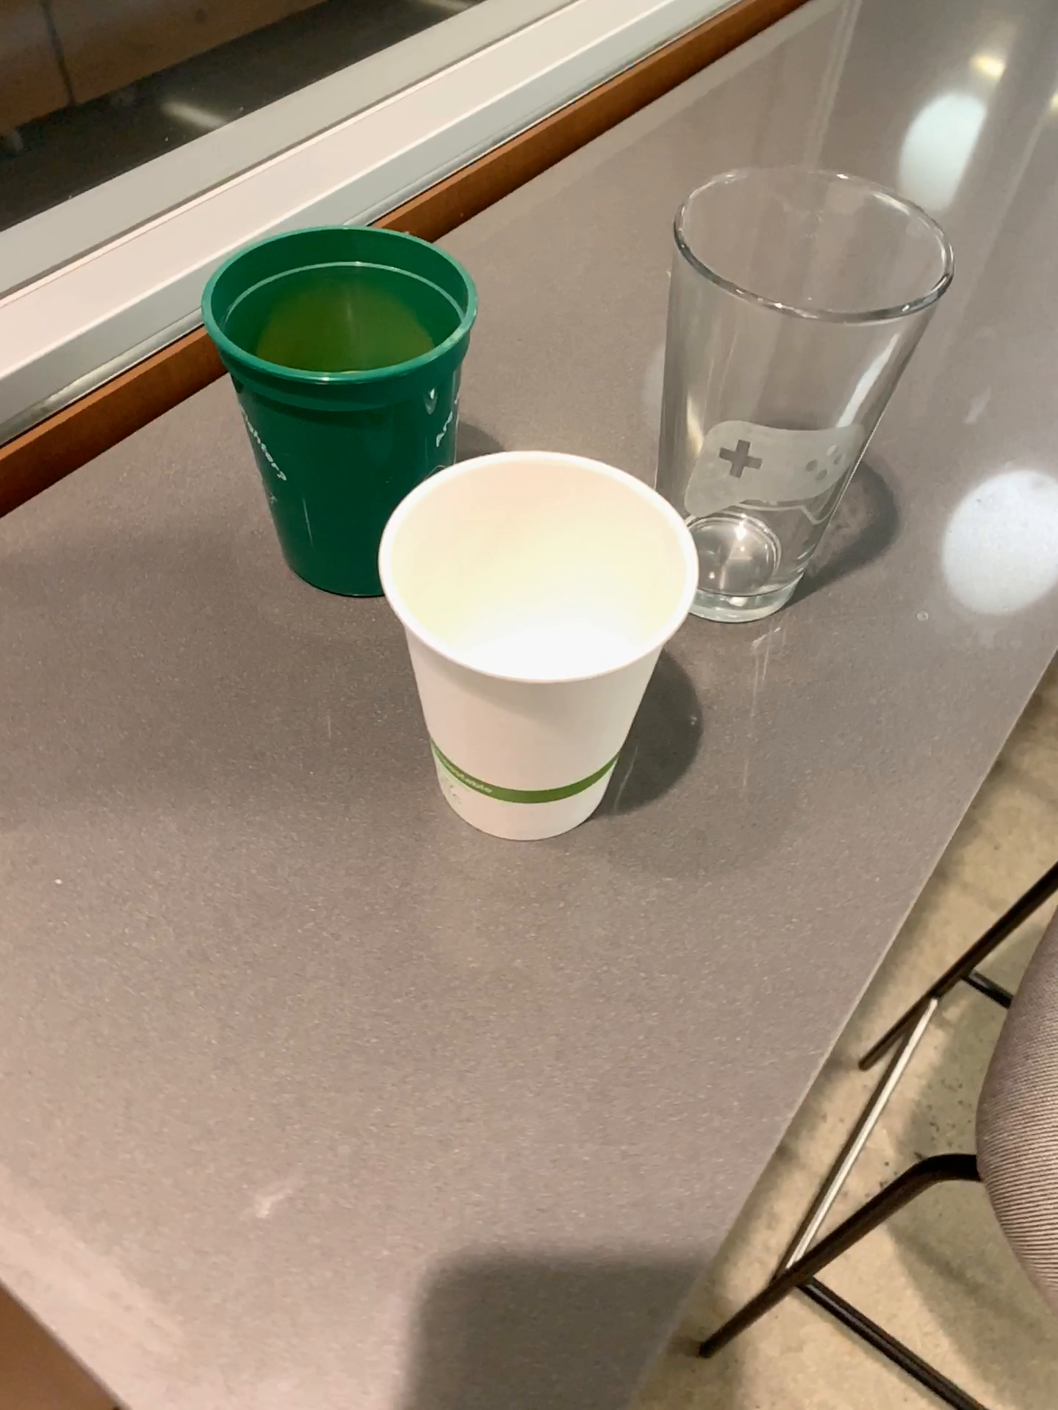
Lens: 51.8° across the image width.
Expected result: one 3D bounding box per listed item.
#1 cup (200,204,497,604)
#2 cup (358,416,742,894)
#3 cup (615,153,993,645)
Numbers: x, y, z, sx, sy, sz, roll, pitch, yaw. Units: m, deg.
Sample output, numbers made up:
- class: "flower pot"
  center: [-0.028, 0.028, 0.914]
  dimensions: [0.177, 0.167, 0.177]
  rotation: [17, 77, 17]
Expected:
- class: "cup"
  center: [-0.059, -0.109, 0.404]
  dimensions: [0.090, 0.110, 0.090]
  rotation: [1, 52, -1]
- class: "cup"
  center: [0.000, -0.013, 0.338]
  dimensions: [0.090, 0.110, 0.090]
  rotation: [1, 52, -1]
- class: "cup"
  center: [0.084, -0.103, 0.387]
  dimensions: [0.090, 0.139, 0.090]
  rotation: [1, 52, -1]
